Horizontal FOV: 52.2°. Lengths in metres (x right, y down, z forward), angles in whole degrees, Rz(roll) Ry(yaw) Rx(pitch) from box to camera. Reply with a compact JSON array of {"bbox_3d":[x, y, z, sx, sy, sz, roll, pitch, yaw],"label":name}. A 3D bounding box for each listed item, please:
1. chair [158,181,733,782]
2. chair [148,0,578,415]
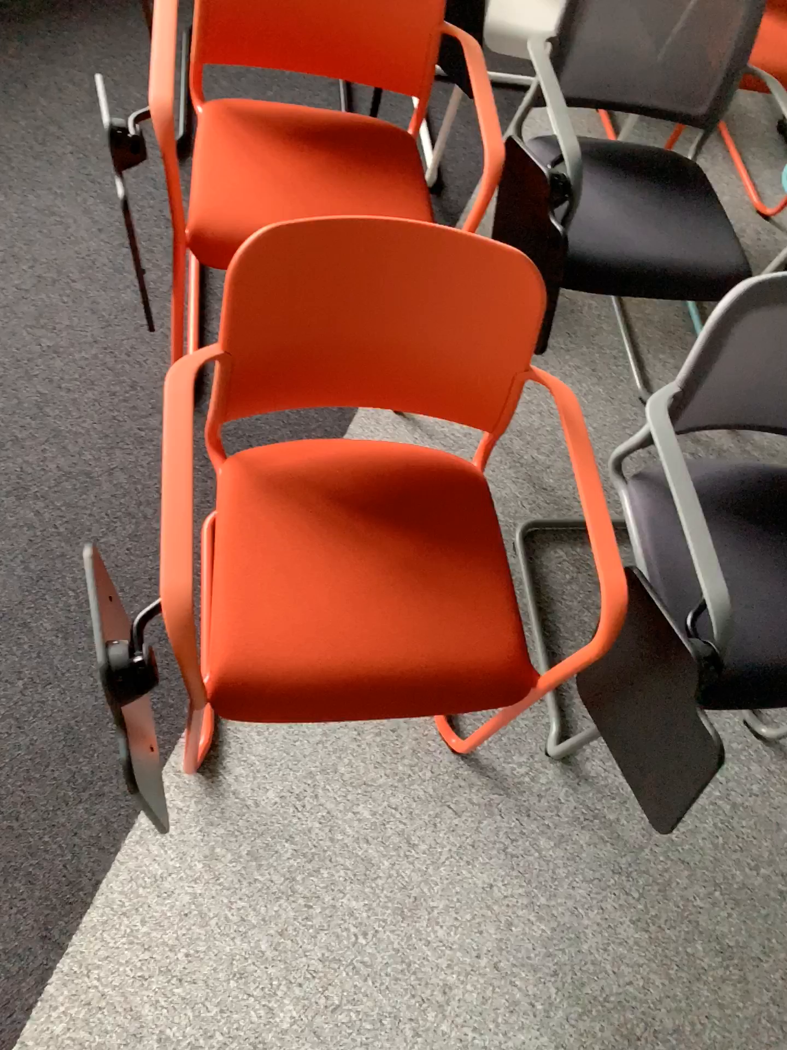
[{"bbox_3d":[-0.038,0.020,1.226,0.581,0.768,0.561,0,64,-14],"label":"chair"},{"bbox_3d":[-0.137,-0.693,1.574,0.611,0.758,0.601,0,63,-14],"label":"chair"}]
